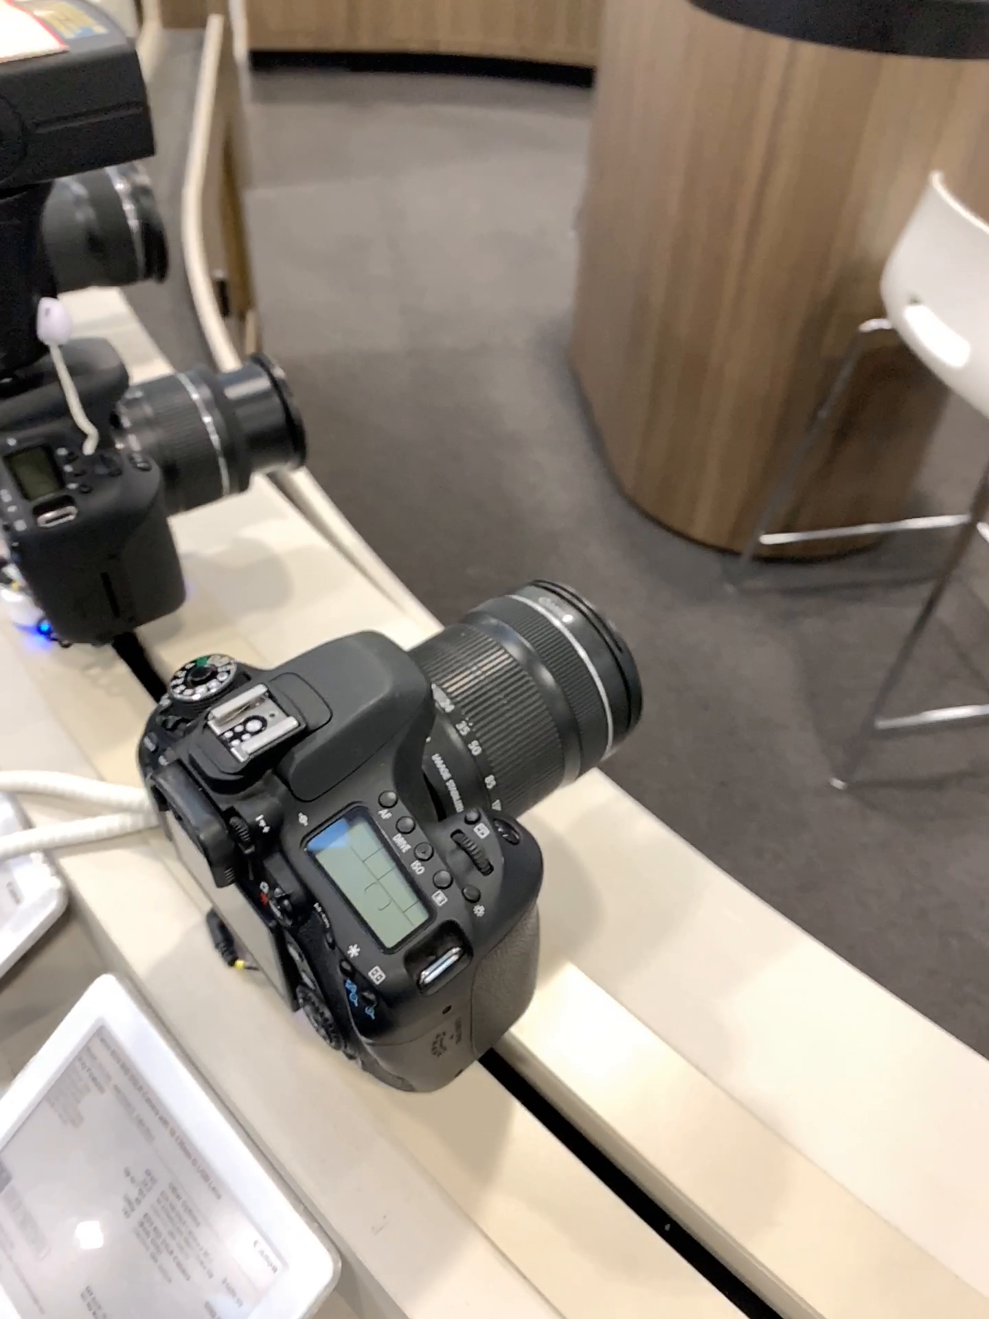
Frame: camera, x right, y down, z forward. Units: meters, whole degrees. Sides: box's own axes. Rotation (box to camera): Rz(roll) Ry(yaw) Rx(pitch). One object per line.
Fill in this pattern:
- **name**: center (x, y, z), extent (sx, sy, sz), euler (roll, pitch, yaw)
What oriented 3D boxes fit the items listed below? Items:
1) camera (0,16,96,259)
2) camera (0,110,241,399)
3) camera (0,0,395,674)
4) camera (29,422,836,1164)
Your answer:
- **camera**: center (-0.425, -0.415, 0.811), extent (0.170, 0.119, 0.151), euler (-14, 47, -18)
- **camera**: center (-0.294, -0.271, 0.672), extent (0.200, 0.099, 0.141), euler (-23, 50, -25)
- **camera**: center (-0.158, -0.148, 0.456), extent (0.170, 0.219, 0.151), euler (-23, 50, -25)
- **camera**: center (-0.018, 0.026, 0.336), extent (0.190, 0.099, 0.141), euler (-28, 52, -28)
